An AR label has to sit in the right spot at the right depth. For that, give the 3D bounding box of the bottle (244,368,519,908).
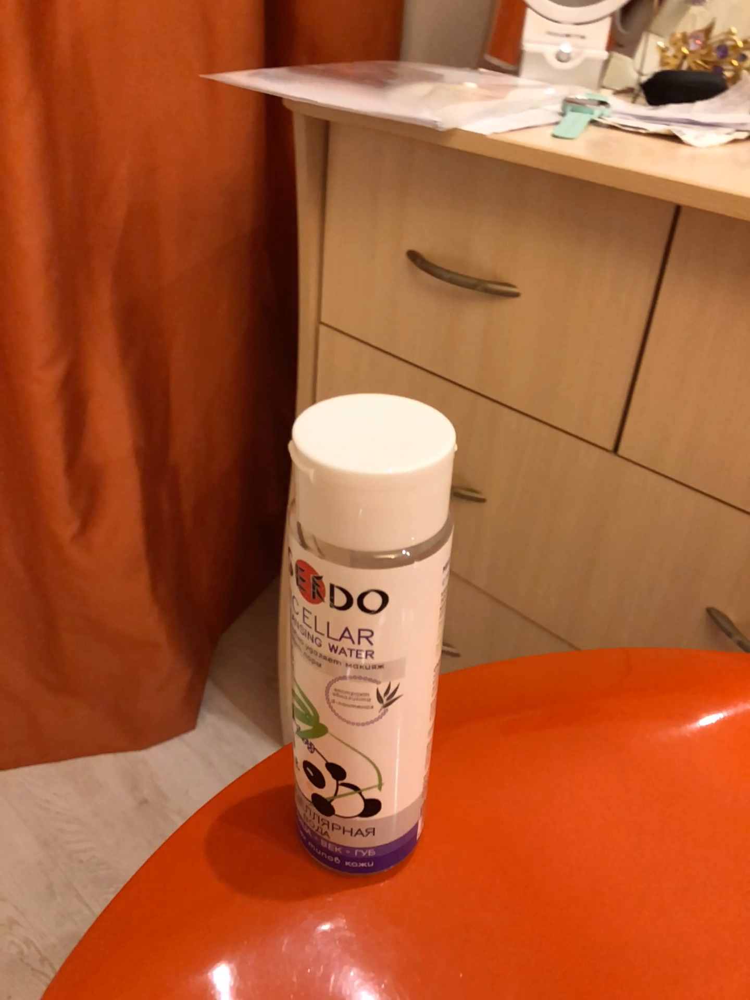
[{"bbox_3d":[-0.002,0.050,0.268,0.053,0.166,0.052,2,34,-2],"label":"bottle"}]
